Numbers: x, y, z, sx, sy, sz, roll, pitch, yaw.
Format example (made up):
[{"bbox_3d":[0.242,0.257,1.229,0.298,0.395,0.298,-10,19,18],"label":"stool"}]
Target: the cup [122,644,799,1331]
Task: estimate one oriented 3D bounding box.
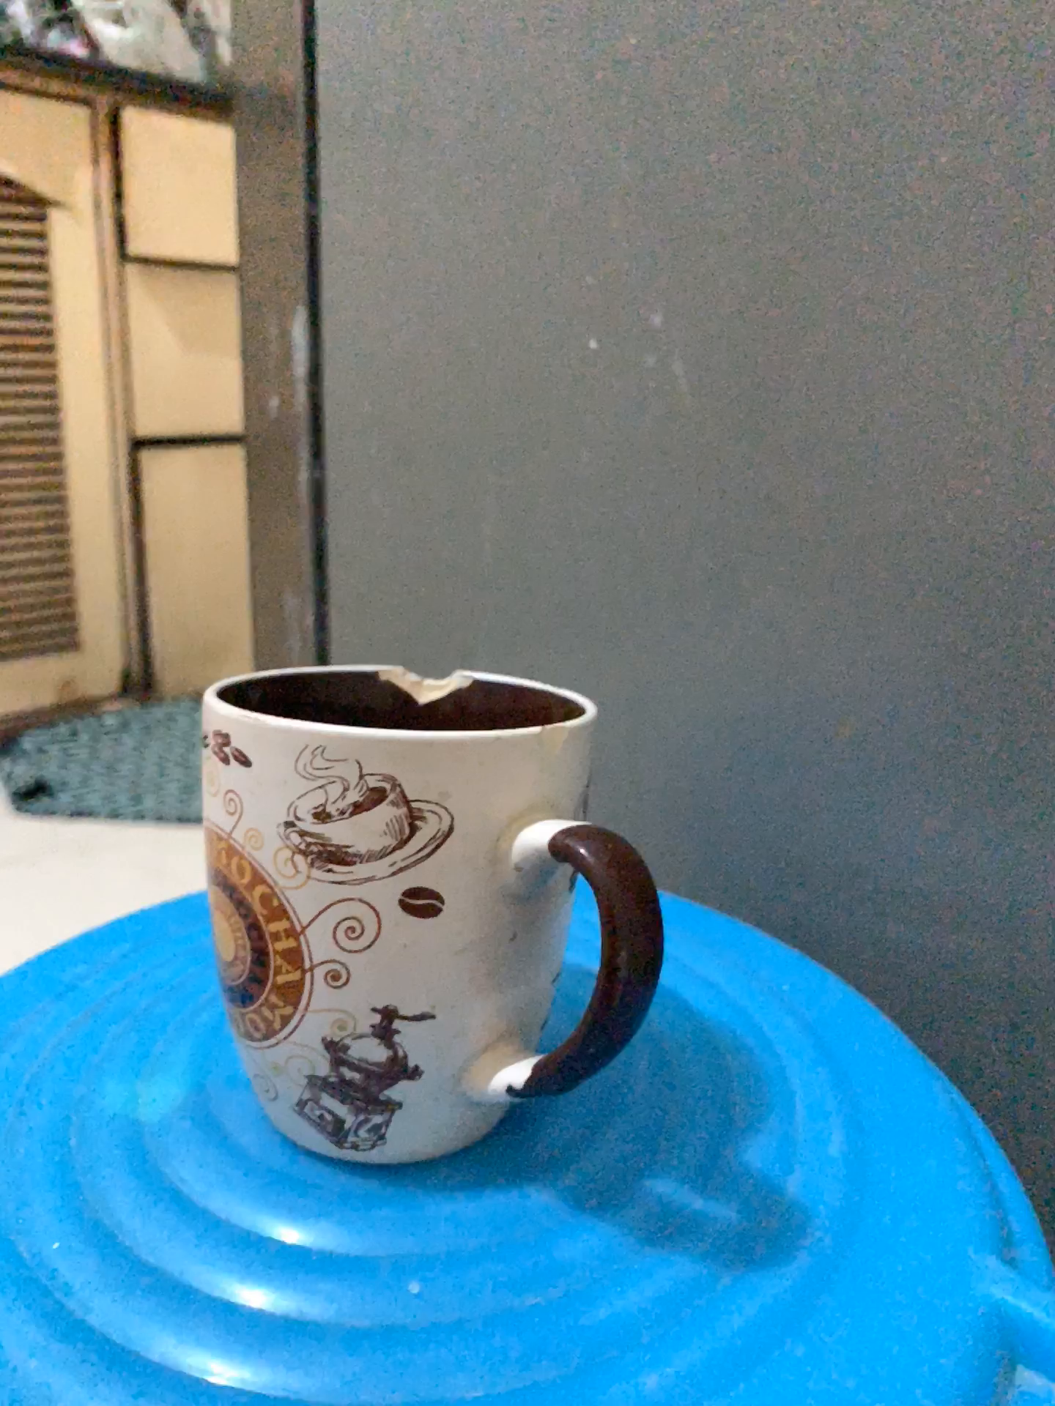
[{"bbox_3d":[-0.017,0.039,0.218,0.109,0.083,0.070,11,13,38],"label":"cup"}]
